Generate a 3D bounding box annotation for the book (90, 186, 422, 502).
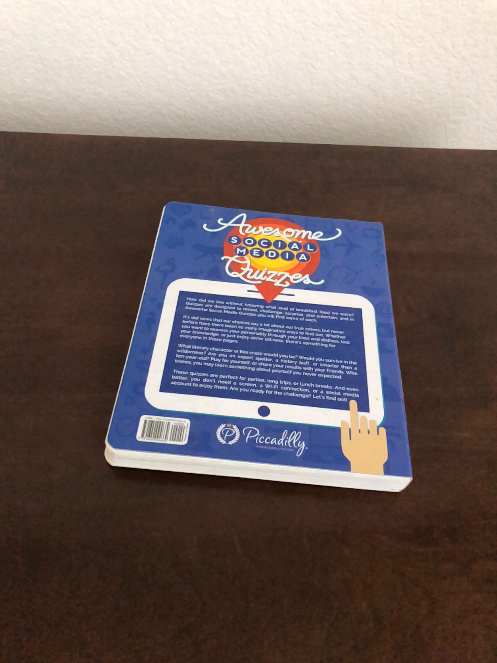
[{"bbox_3d":[0.010,-0.006,0.363,0.173,0.030,0.215,6,53,-2],"label":"book"}]
